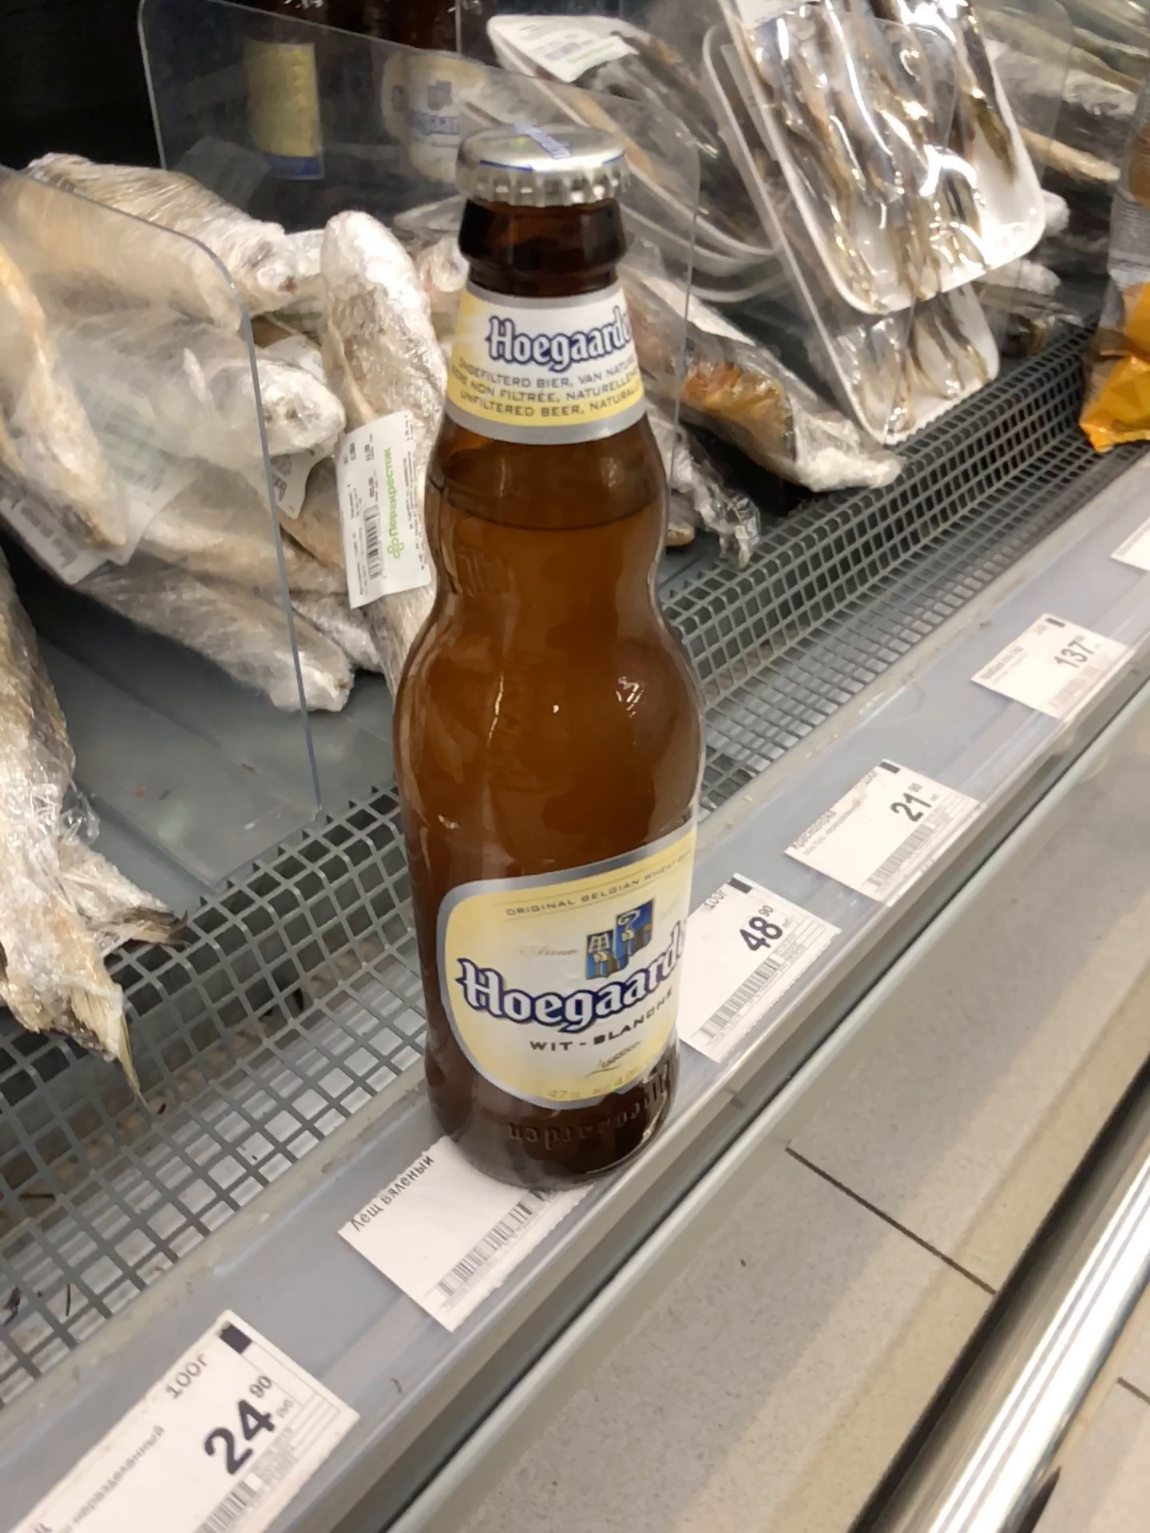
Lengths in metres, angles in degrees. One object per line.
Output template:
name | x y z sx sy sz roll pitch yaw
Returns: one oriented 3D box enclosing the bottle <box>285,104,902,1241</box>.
bottle | -0.002 -0.005 0.272 0.070 0.229 0.070 1 39 -1
